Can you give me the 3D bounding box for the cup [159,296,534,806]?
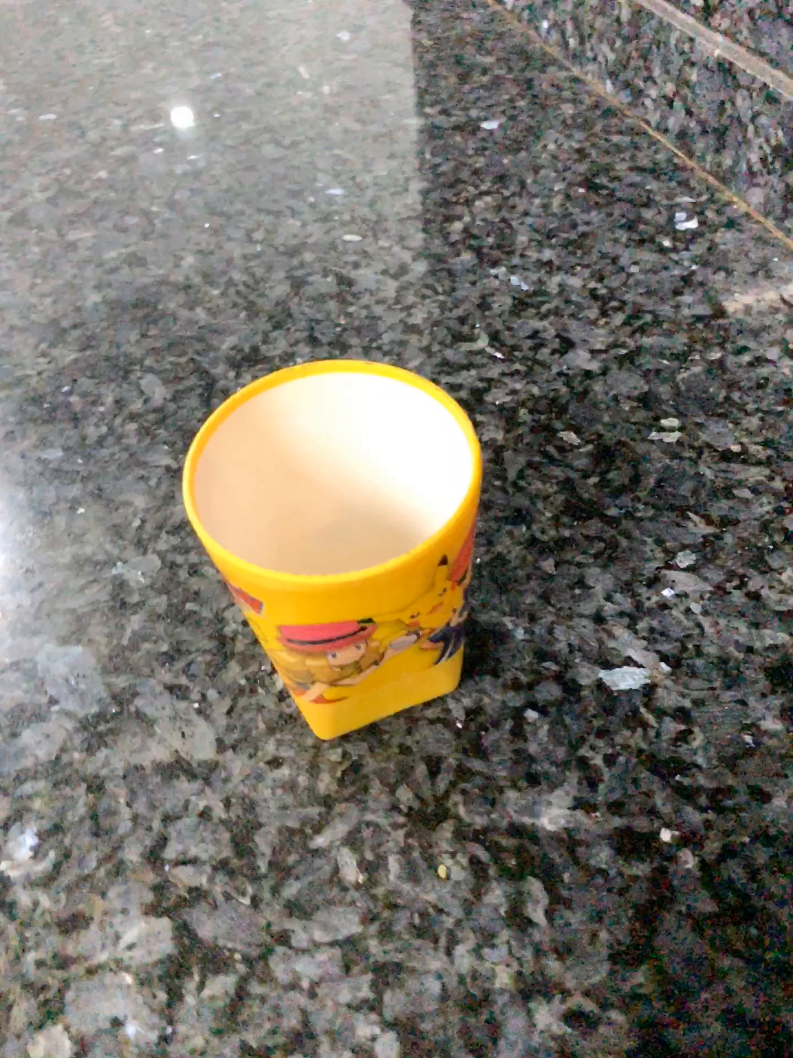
[{"bbox_3d":[-0.015,0.008,0.261,0.070,0.109,0.101,-20,52,-12],"label":"cup"}]
